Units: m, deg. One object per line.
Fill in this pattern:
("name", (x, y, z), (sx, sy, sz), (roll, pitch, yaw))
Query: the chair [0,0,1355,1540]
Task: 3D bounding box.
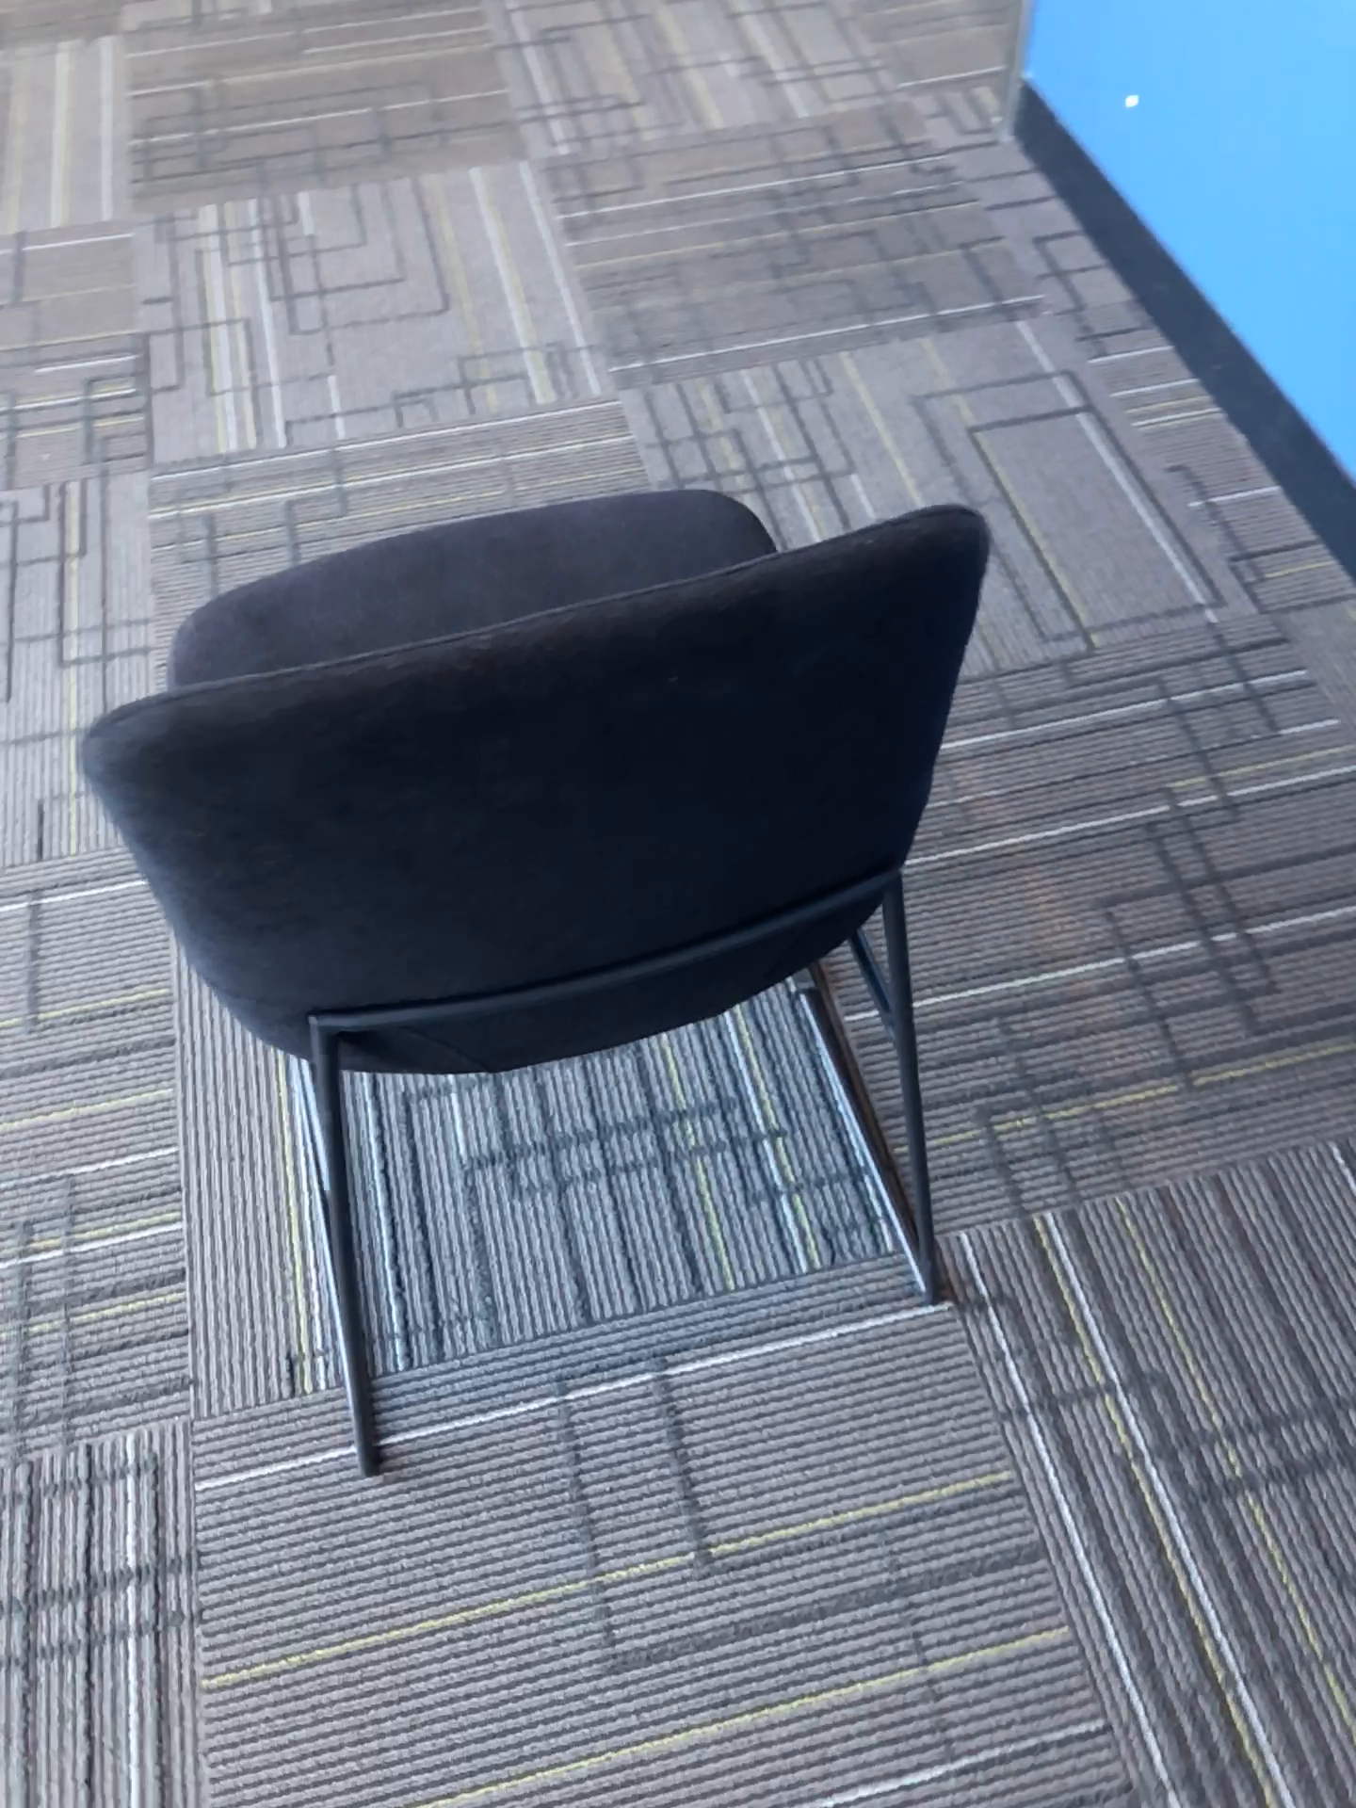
("chair", (-0.100, -0.073, 0.909), (0.560, 0.767, 0.552), (-14, 54, -8))
